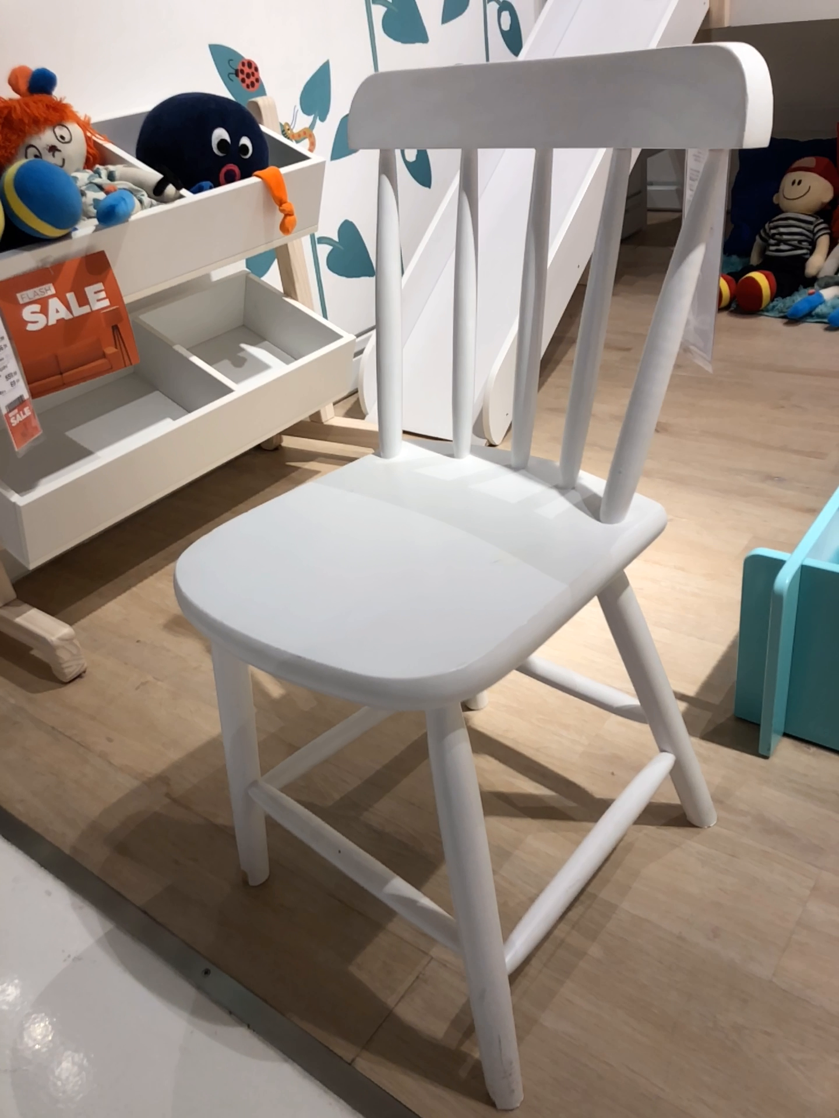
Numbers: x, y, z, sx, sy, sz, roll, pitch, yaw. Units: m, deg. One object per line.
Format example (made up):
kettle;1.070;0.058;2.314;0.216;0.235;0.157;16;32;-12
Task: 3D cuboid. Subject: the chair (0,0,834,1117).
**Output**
chair;0.016;-0.019;0.817;0.442;0.754;0.432;21;42;39
